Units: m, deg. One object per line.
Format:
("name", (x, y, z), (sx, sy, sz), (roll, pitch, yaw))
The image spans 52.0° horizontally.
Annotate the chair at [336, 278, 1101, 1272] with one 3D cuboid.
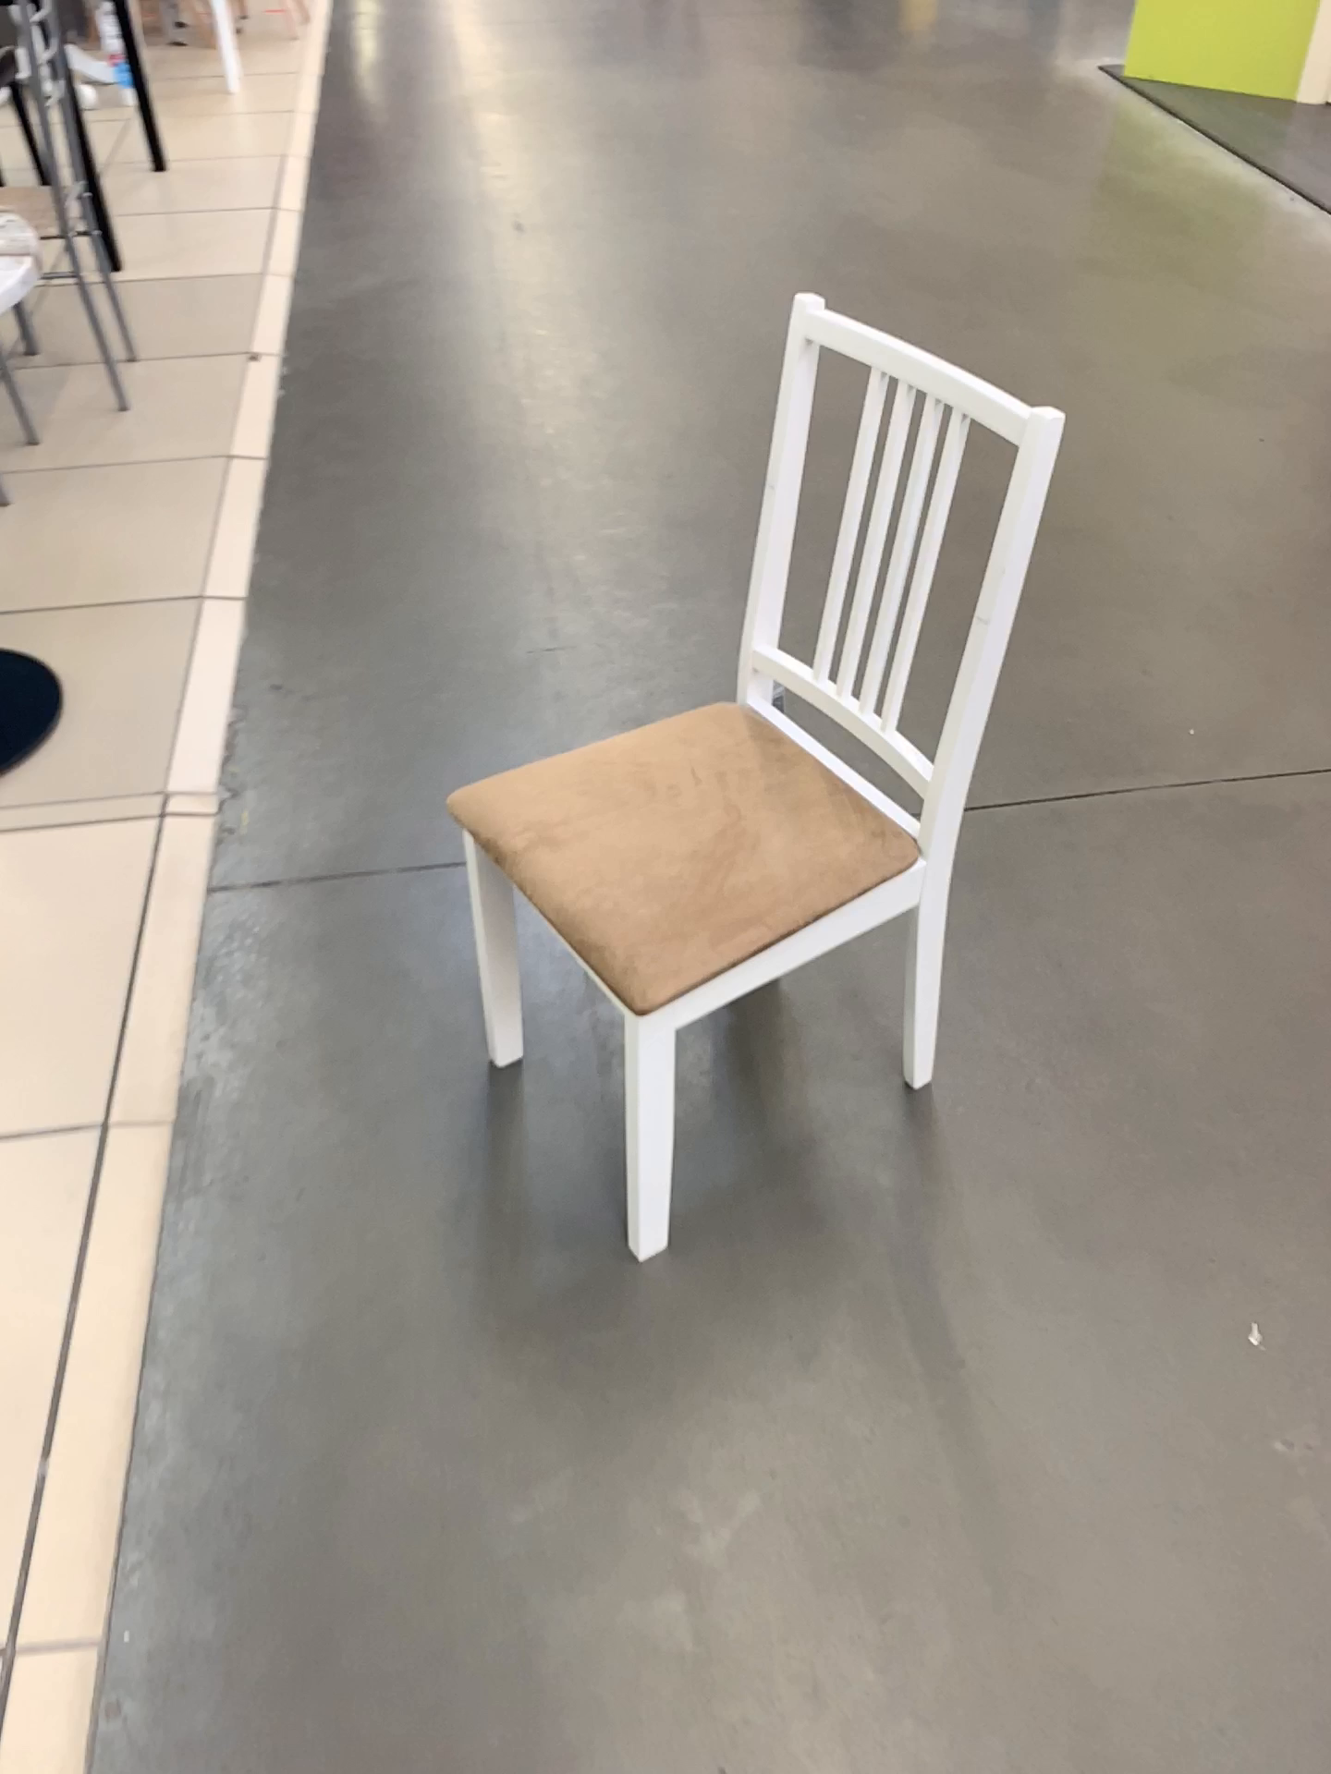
("chair", (0.046, -0.100, 1.415), (0.501, 0.816, 0.401), (-26, 47, -25))
